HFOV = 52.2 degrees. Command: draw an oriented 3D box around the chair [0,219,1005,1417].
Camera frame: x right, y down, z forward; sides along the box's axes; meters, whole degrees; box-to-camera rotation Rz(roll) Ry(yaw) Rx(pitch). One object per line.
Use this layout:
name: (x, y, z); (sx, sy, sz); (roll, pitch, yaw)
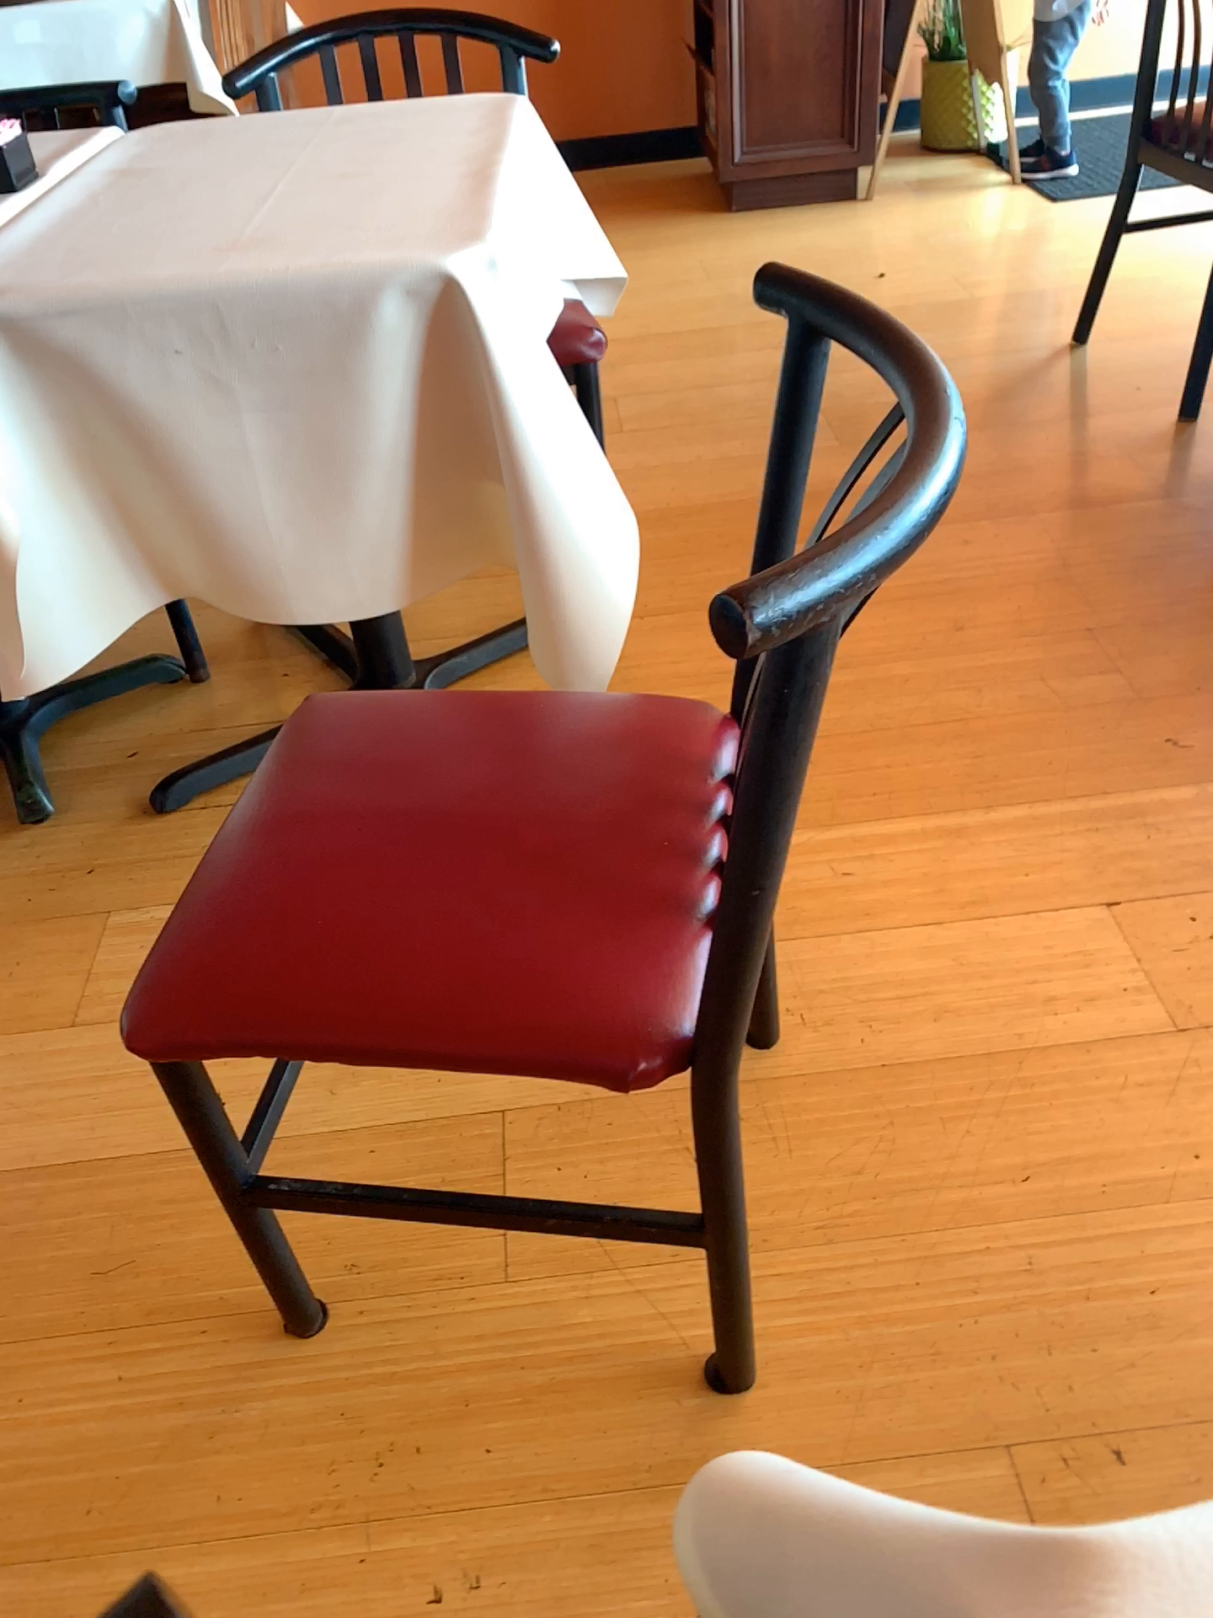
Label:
chair: (-0.059, 0.033, 0.941); (0.570, 0.726, 0.483); (1, 42, 10)
